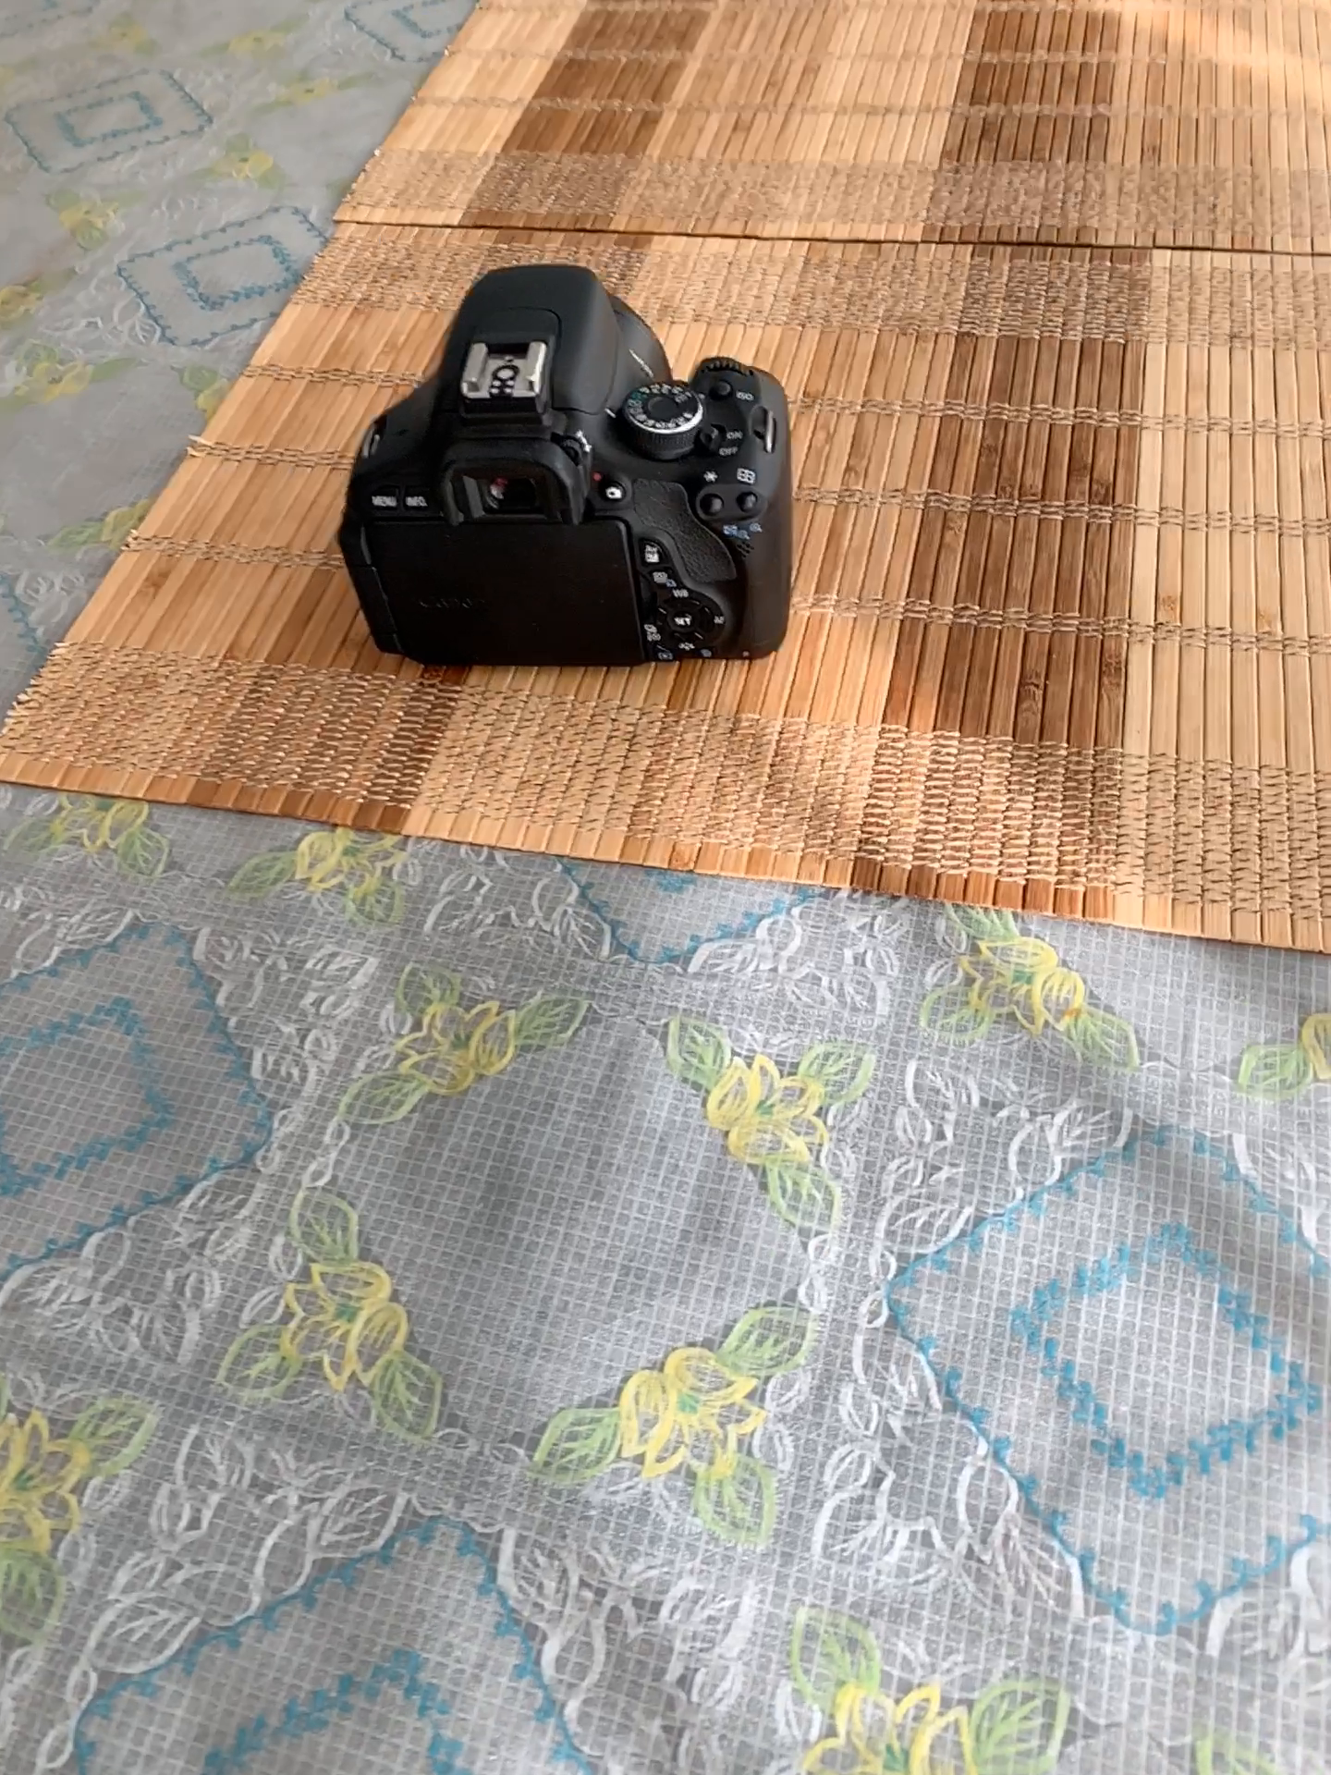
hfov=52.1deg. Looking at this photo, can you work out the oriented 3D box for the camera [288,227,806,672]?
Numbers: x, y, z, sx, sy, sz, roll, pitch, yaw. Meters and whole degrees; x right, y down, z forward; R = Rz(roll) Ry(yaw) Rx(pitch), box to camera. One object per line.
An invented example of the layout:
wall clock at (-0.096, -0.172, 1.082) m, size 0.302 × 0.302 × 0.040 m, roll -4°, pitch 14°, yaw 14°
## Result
camera at (-0.026, -0.133, 0.418) m, size 0.133 × 0.080 × 0.106 m, roll 2°, pitch 54°, yaw 8°
